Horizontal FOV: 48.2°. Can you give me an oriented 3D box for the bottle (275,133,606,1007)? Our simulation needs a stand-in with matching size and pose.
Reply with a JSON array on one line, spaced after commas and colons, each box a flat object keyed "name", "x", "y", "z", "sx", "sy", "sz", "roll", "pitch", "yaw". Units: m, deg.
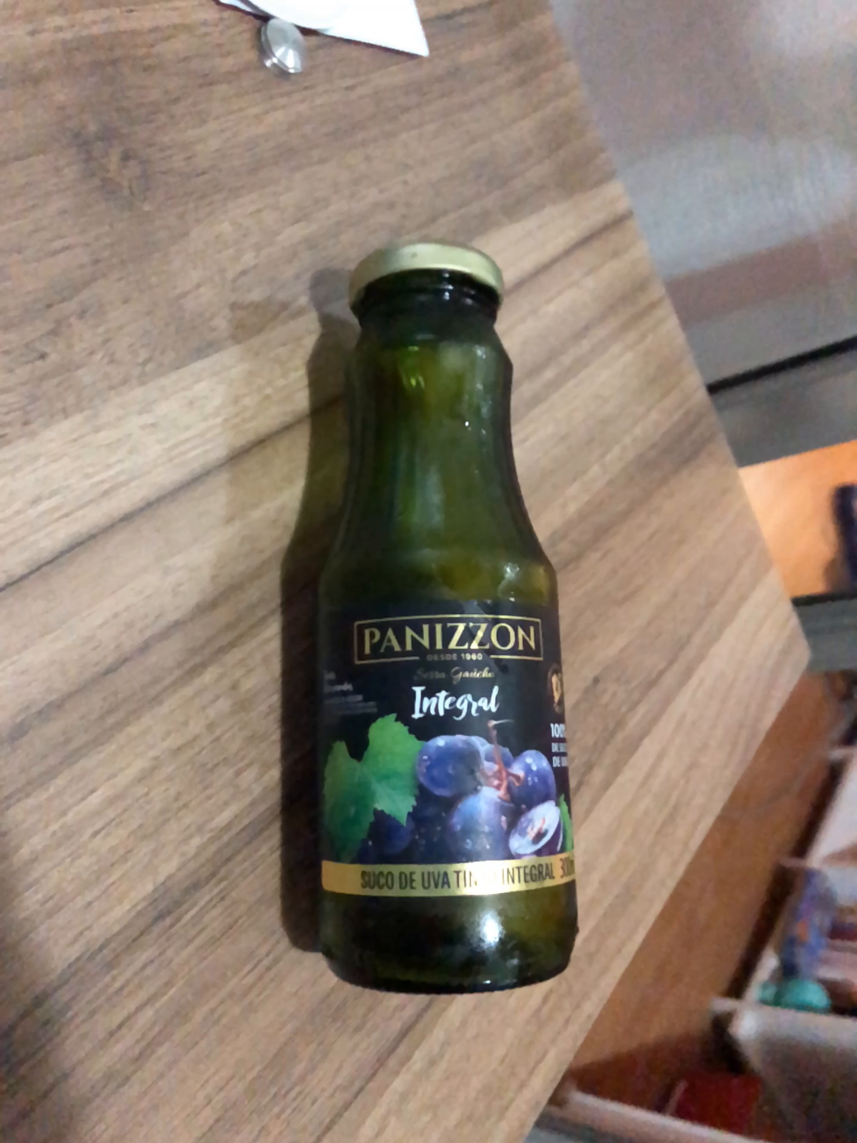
[{"name": "bottle", "x": -0.002, "y": -0.002, "z": 0.254, "sx": 0.070, "sy": 0.070, "sz": 0.200, "roll": 0, "pitch": 80, "yaw": -6}]
